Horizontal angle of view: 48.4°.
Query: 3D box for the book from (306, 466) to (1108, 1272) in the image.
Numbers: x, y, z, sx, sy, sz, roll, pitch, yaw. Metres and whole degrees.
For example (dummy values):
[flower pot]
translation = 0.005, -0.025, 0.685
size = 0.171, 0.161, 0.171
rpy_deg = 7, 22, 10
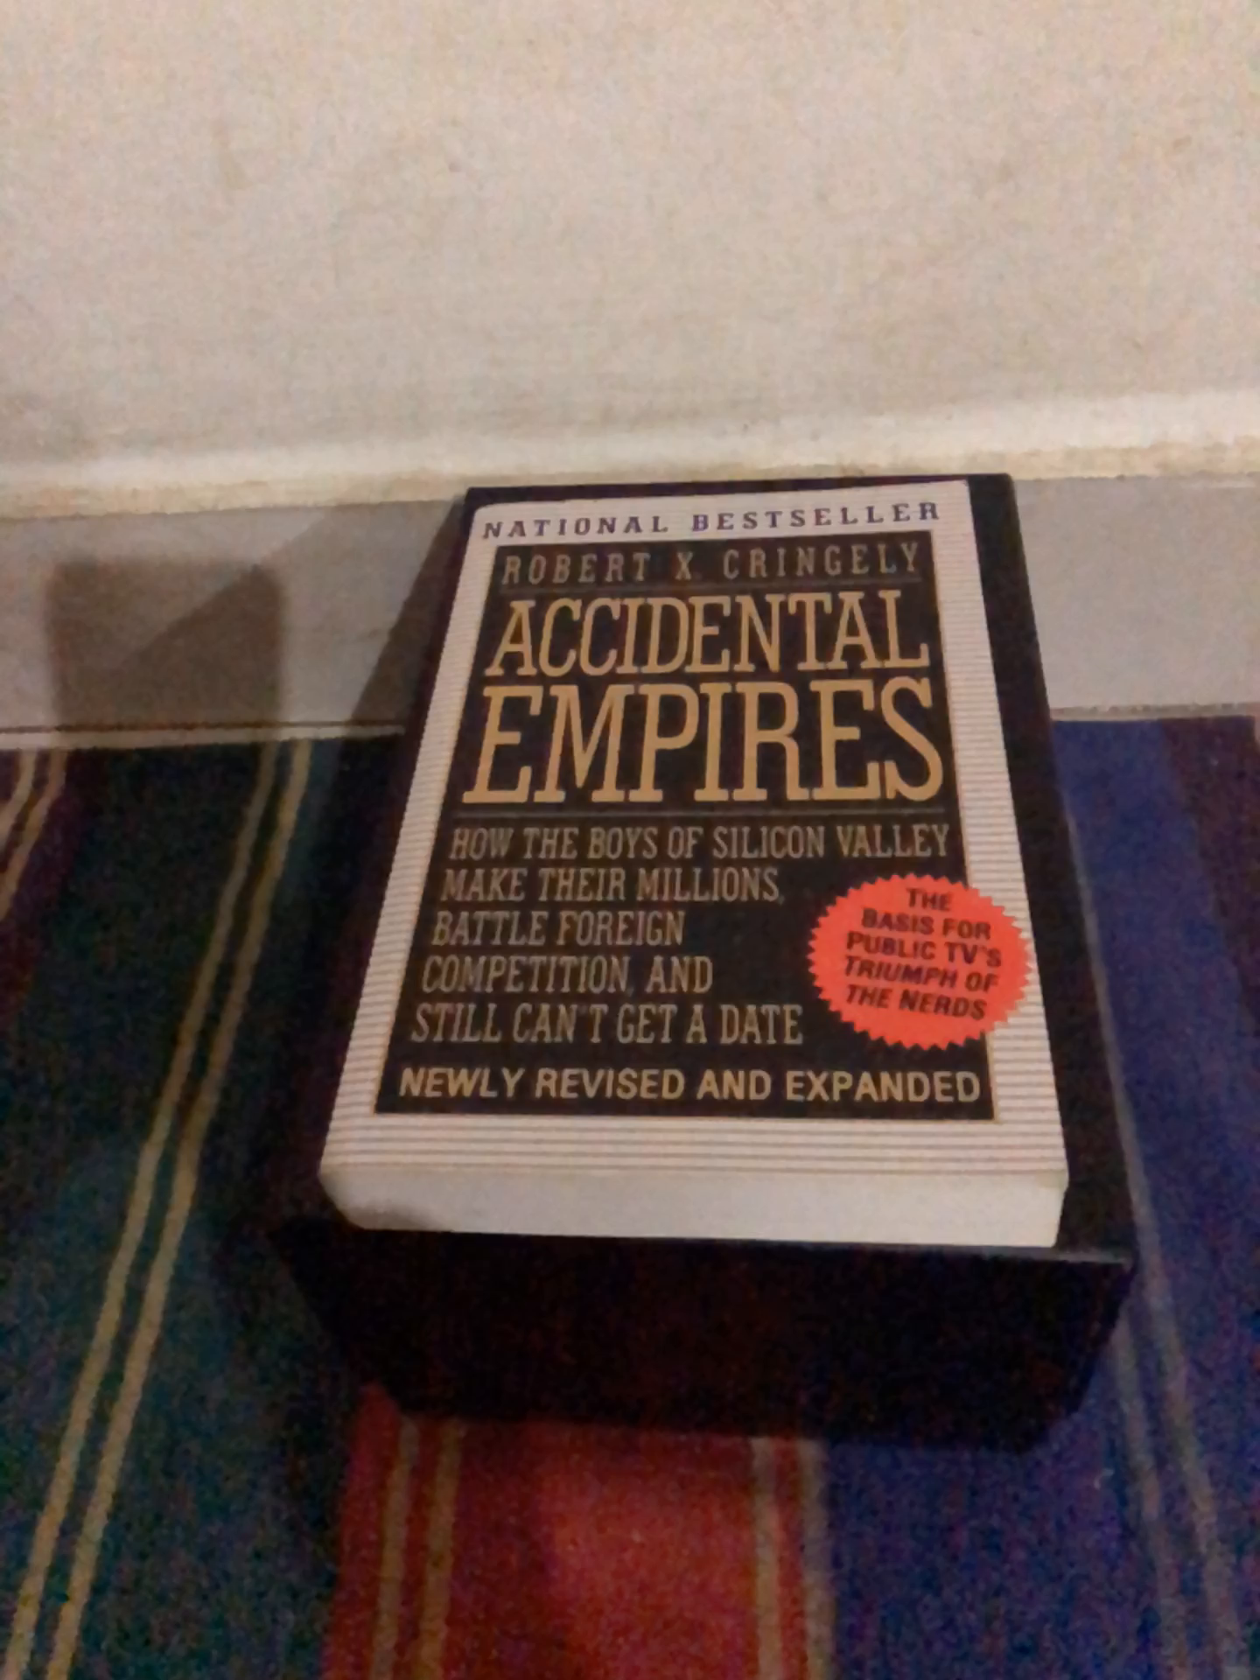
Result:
[book]
translation = 0.018, -0.007, 0.305
size = 0.130, 0.040, 0.191
rpy_deg = 0, 49, 6
